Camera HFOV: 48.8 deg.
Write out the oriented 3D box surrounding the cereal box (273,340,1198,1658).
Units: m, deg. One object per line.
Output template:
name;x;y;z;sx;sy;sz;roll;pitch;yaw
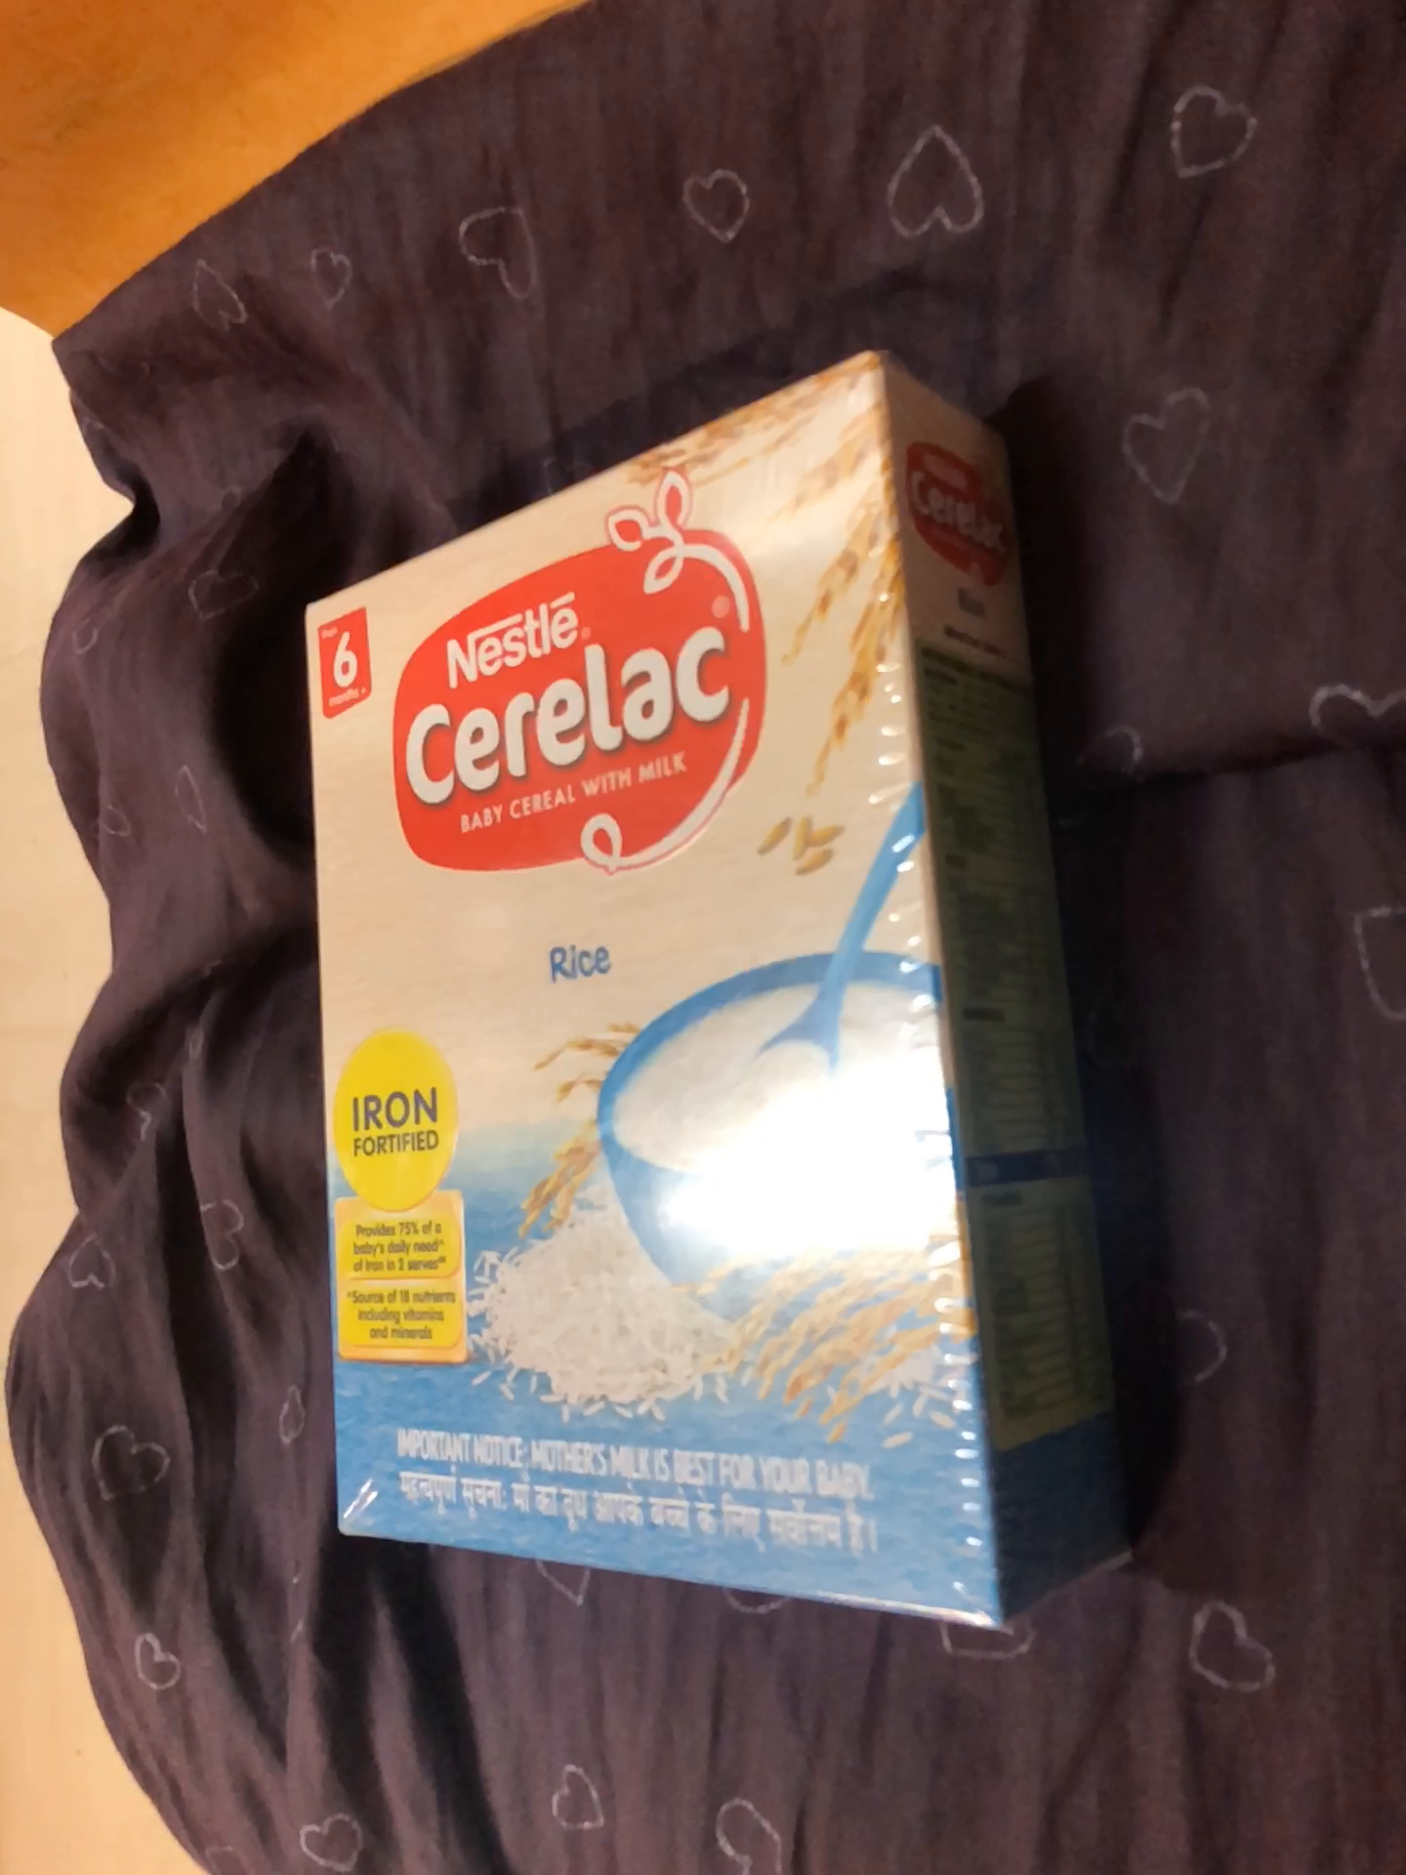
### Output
cereal box;-0.004;0.017;0.310;0.161;0.070;0.200;-11;80;38
